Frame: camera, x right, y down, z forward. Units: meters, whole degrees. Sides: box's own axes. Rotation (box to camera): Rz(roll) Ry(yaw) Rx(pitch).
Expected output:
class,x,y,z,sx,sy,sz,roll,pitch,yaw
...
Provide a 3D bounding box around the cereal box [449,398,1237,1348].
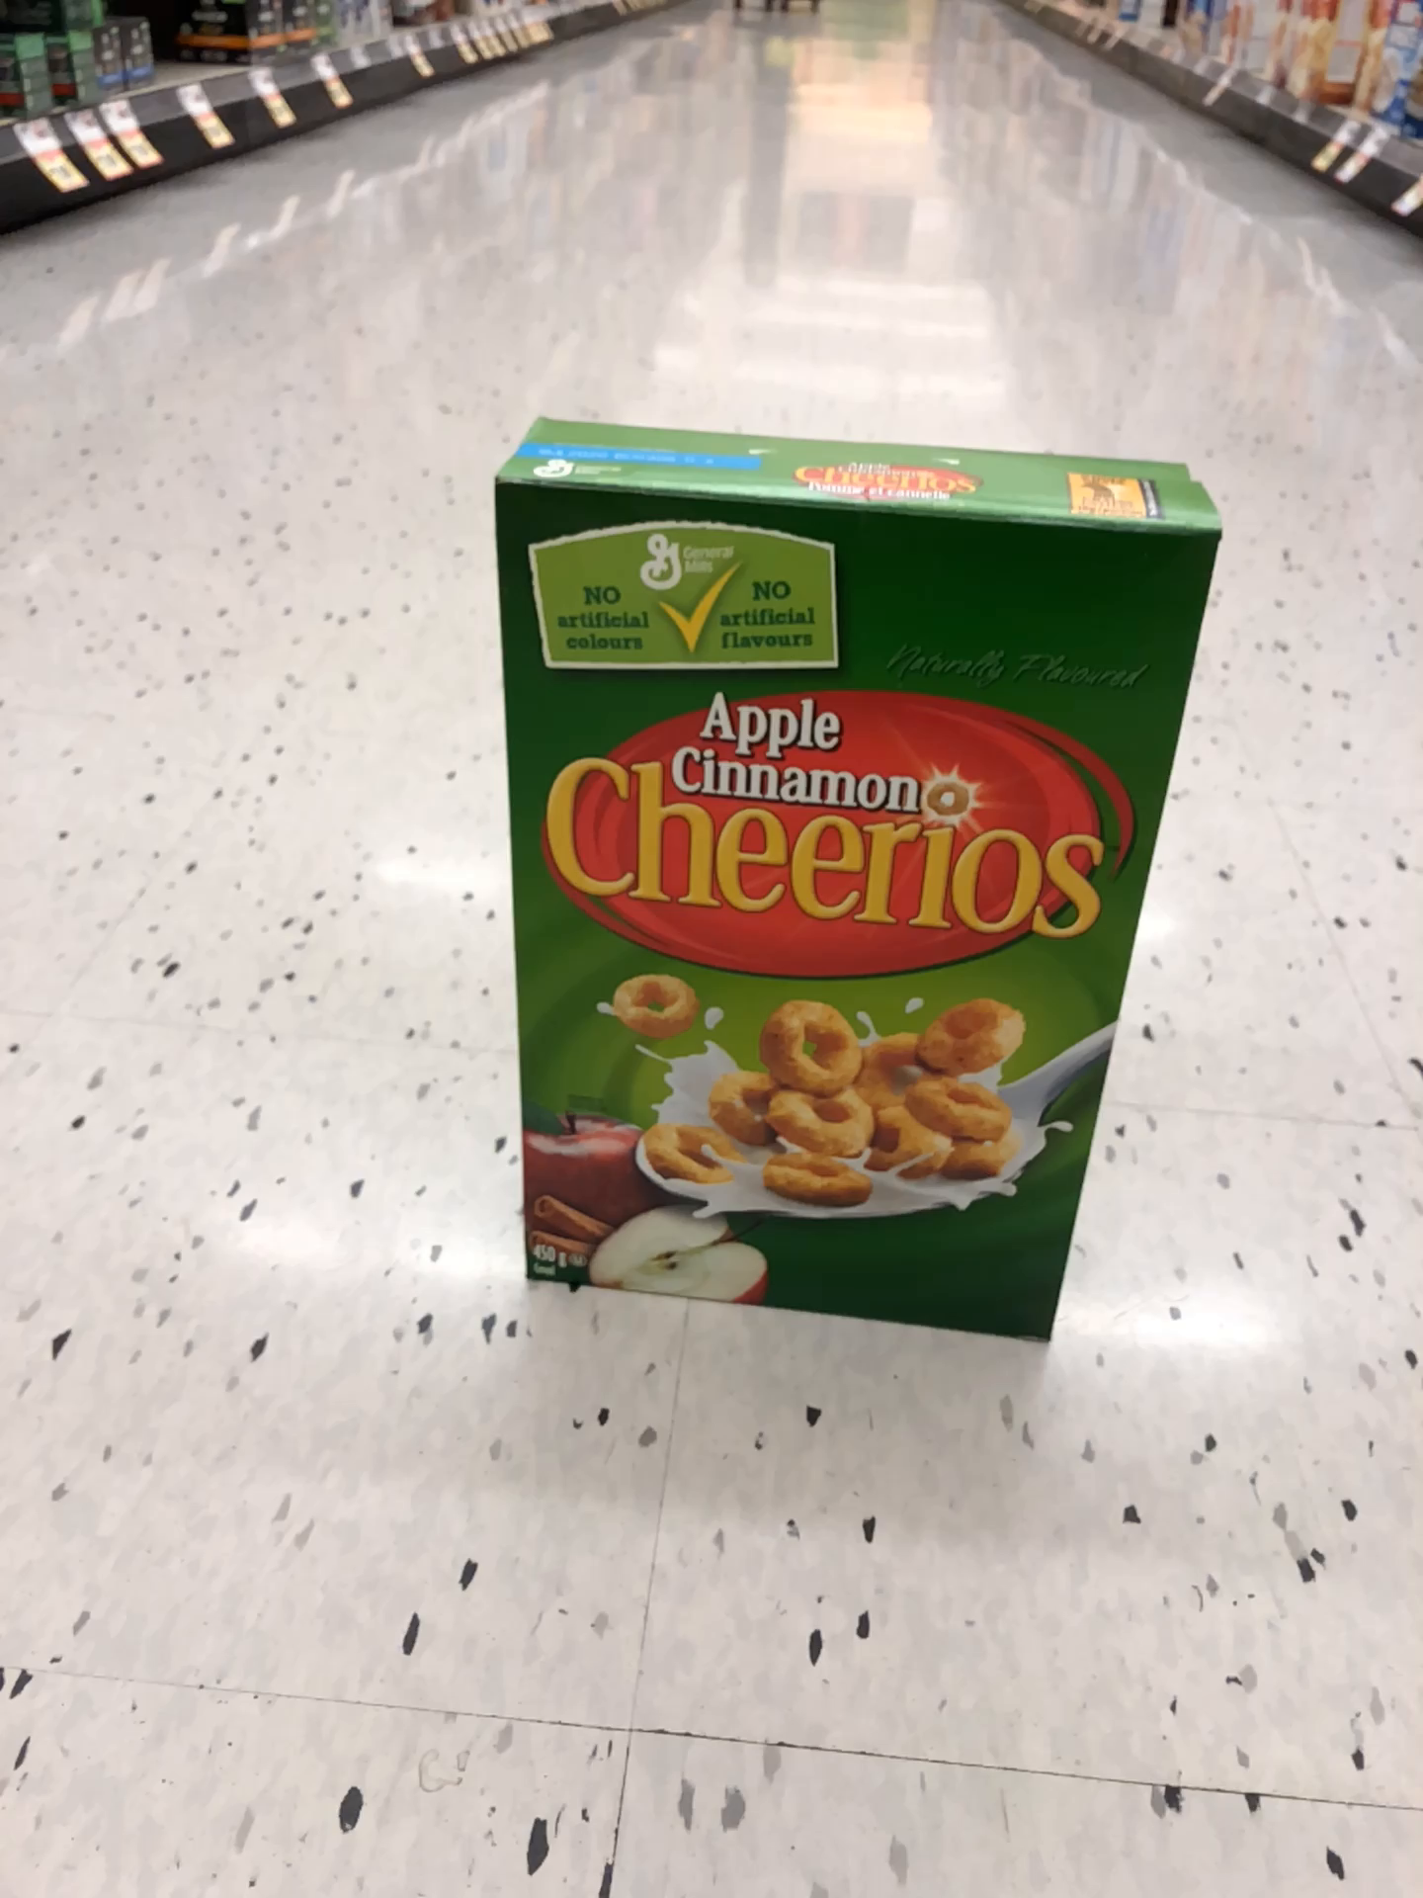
class,x,y,z,sx,sy,sz,roll,pitch,yaw
cereal box,0.028,-0.010,0.480,0.190,0.278,0.060,6,33,4
